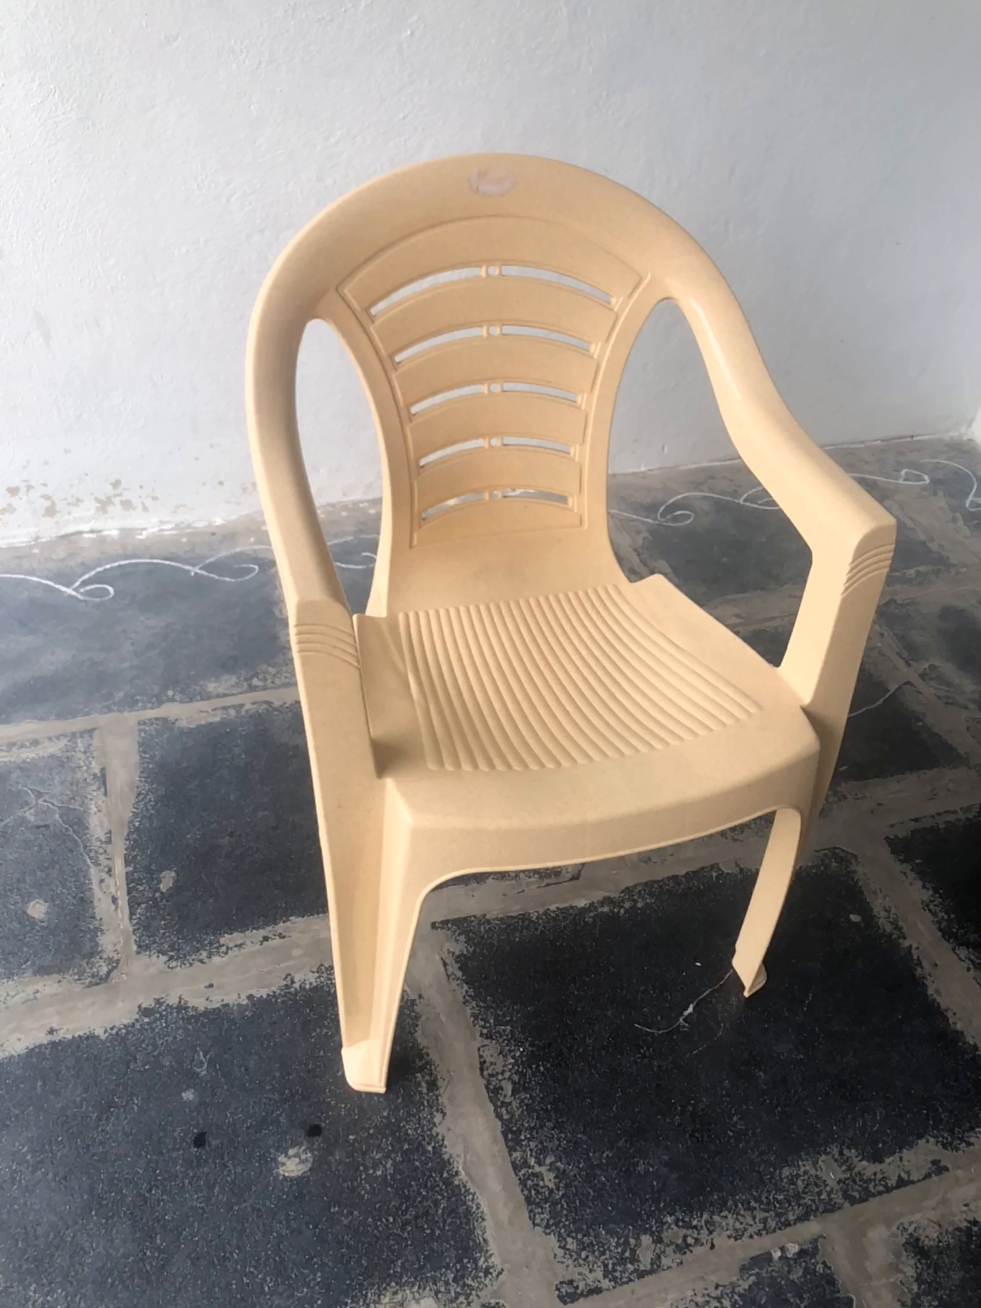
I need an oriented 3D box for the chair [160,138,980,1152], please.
[{"bbox_3d":[0.063,-0.054,1.150,0.622,0.736,0.652,-12,43,-20],"label":"chair"}]
